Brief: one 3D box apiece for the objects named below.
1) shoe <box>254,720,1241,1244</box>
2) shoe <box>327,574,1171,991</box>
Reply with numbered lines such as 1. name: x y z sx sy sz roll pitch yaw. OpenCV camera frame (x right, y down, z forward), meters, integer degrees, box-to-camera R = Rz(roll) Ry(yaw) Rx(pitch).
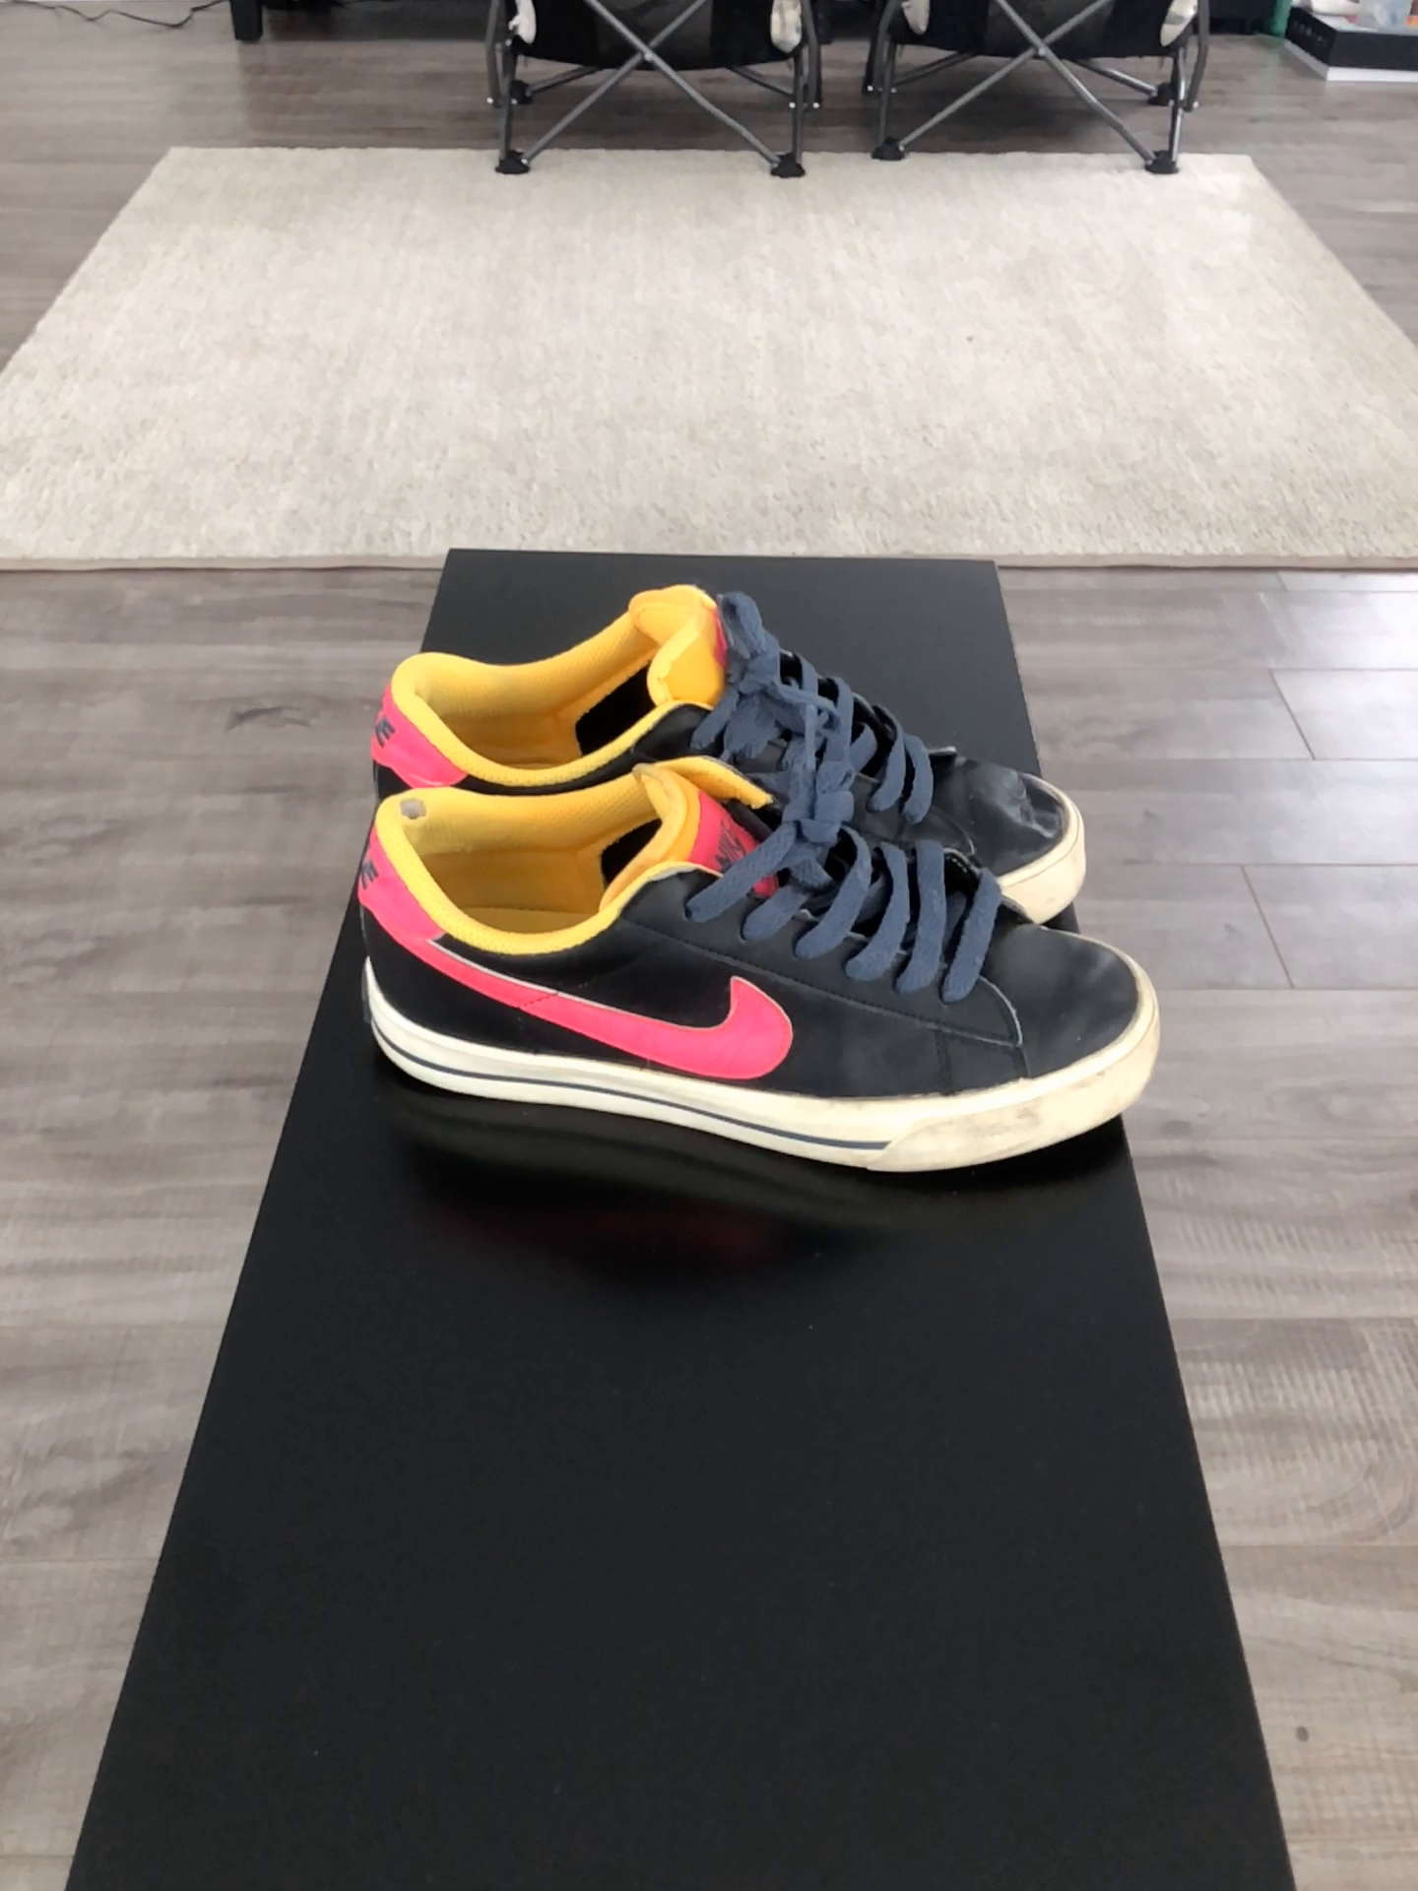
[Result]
1. shoe: 0.011 0.010 0.454 0.244 0.100 0.096 3 46 4
2. shoe: 0.011 -0.054 0.518 0.244 0.100 0.090 -1 46 -1
